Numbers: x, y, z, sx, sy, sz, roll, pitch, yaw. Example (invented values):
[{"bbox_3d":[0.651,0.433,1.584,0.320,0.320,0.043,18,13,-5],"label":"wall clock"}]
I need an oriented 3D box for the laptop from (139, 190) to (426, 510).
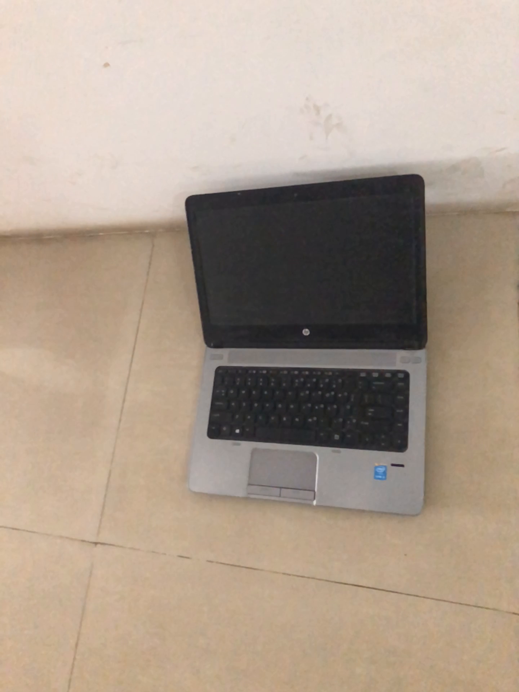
[{"bbox_3d":[0.050,0.003,0.778,0.318,0.146,0.386,1,70,20],"label":"laptop"}]
